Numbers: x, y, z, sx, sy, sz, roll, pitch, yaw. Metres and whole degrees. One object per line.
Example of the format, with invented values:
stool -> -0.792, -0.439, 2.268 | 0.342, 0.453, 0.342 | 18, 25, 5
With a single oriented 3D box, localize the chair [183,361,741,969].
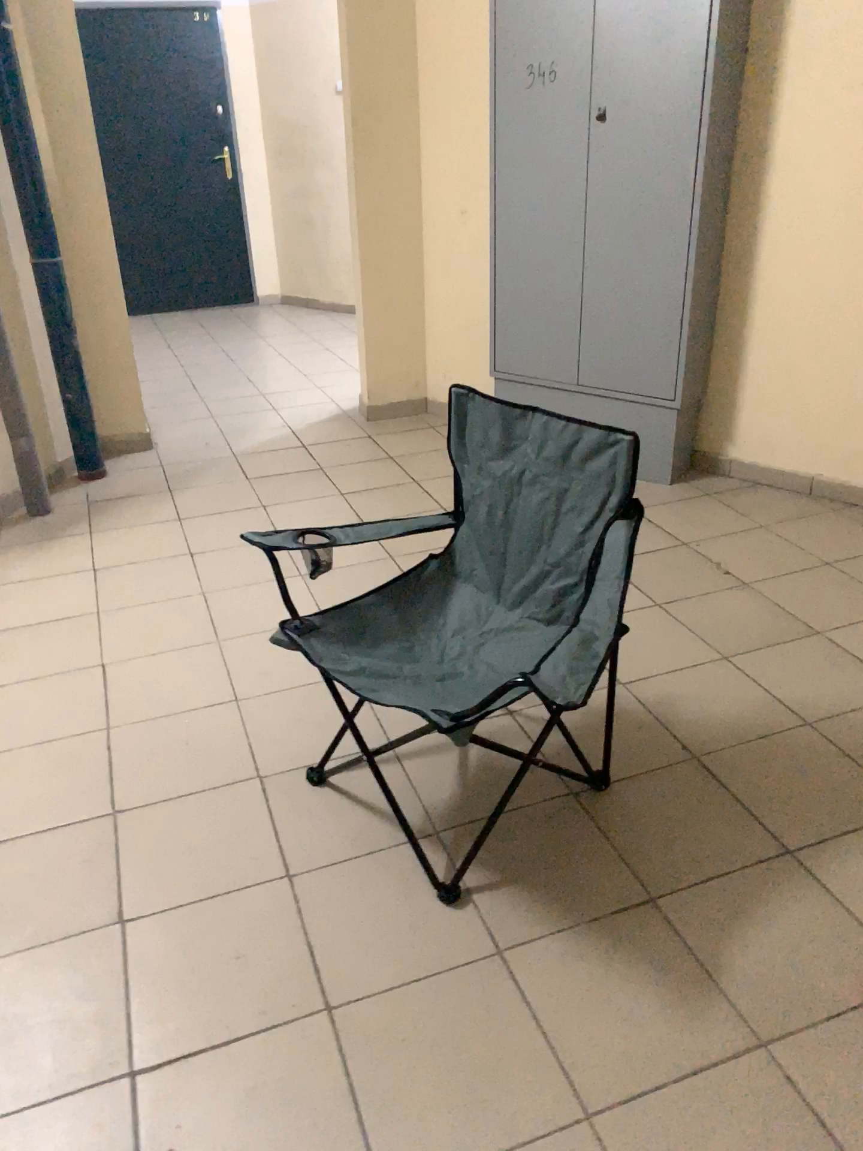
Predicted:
chair -> 0.037, 0.081, 1.686 | 0.561, 0.756, 0.803 | -25, 35, -37
